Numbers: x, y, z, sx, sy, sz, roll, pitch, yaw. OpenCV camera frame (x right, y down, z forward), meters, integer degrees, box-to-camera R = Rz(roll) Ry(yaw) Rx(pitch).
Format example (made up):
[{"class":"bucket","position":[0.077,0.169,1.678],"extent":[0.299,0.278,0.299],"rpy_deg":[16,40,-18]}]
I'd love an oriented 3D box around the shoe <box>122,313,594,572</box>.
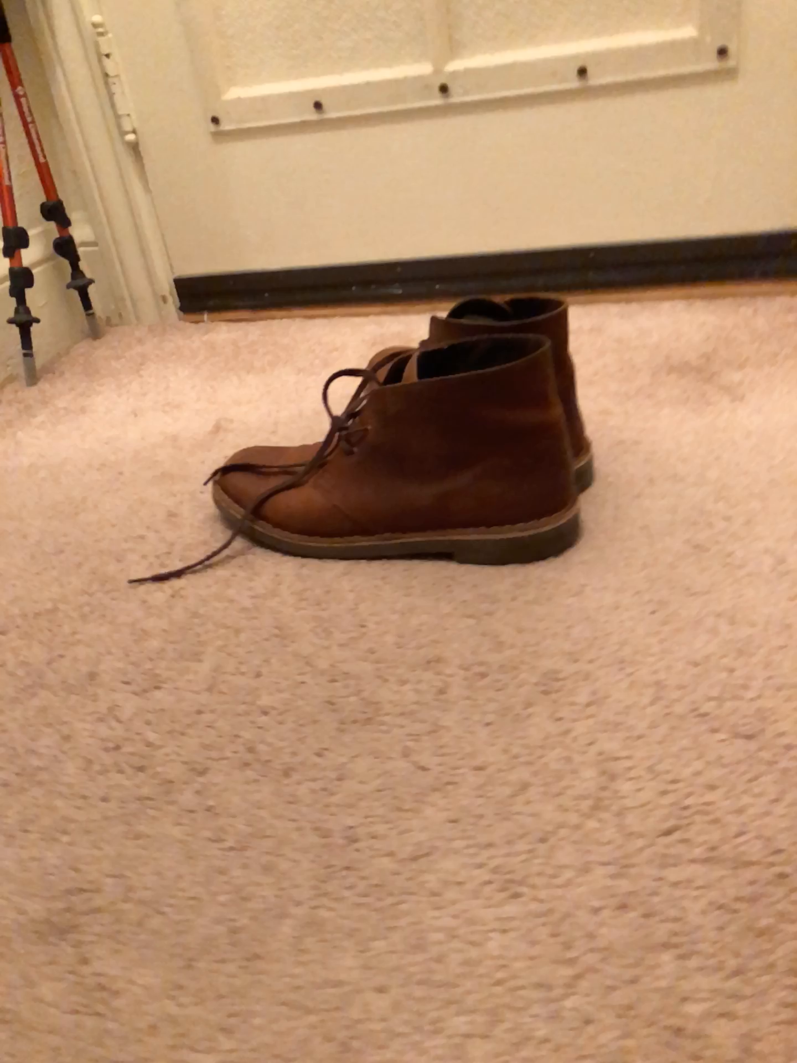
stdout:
[{"class":"shoe","position":[-0.020,-0.064,0.633],"extent":[0.303,0.138,0.111],"rpy_deg":[1,32,17]}]

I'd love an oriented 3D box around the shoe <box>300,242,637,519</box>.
[{"class":"shoe","position":[0.049,-0.145,0.746],"extent":[0.110,0.138,0.304],"rpy_deg":[-25,34,-25]}]
